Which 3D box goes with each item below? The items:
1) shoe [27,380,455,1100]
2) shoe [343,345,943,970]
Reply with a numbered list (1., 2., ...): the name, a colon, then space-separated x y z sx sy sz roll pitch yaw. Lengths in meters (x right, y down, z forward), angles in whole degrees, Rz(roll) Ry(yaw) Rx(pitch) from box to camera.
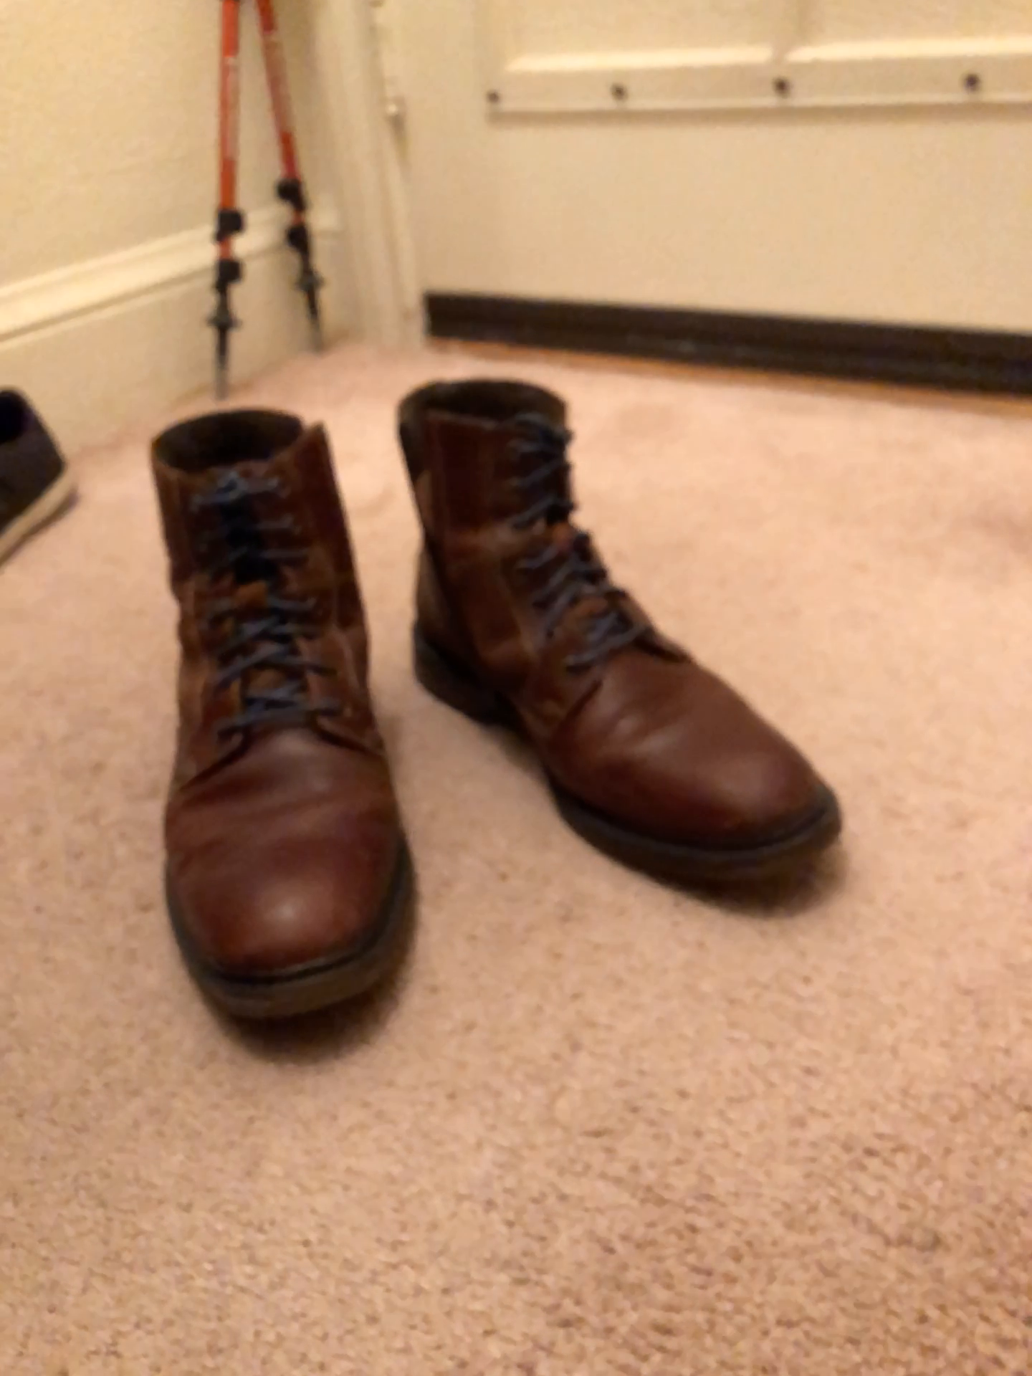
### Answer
1. shoe: -0.113 -0.005 0.541 0.113 0.172 0.317 -9 32 -5
2. shoe: 0.041 -0.039 0.567 0.110 0.172 0.302 -22 35 -23
